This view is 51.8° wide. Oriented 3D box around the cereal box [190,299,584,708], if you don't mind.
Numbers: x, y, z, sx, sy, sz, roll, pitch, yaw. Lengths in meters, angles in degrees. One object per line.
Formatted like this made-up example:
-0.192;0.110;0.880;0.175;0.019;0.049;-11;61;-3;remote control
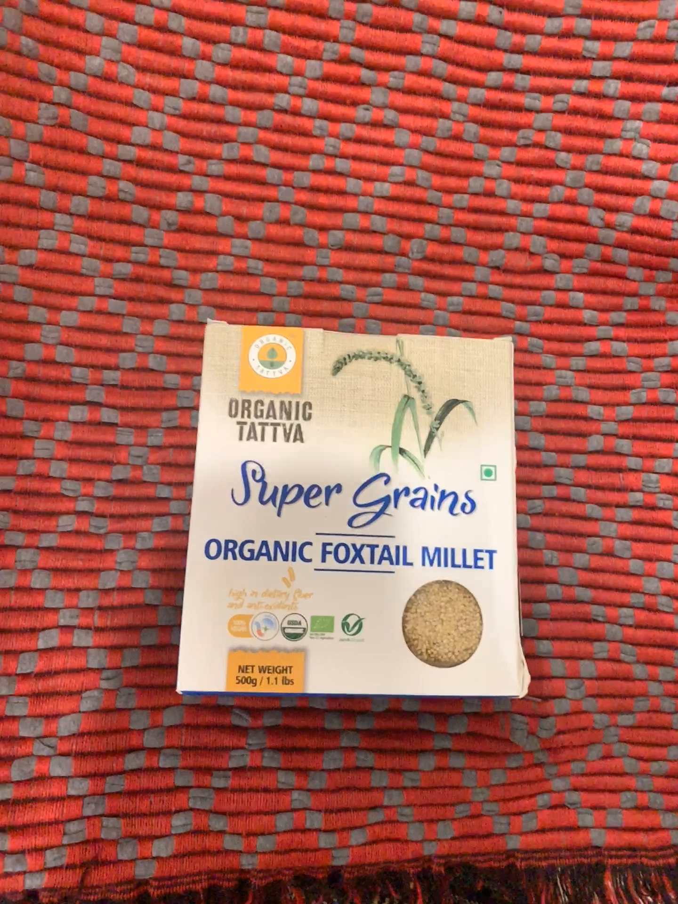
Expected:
0.018;0.022;0.292;0.140;0.060;0.150;2;78;-4;cereal box
